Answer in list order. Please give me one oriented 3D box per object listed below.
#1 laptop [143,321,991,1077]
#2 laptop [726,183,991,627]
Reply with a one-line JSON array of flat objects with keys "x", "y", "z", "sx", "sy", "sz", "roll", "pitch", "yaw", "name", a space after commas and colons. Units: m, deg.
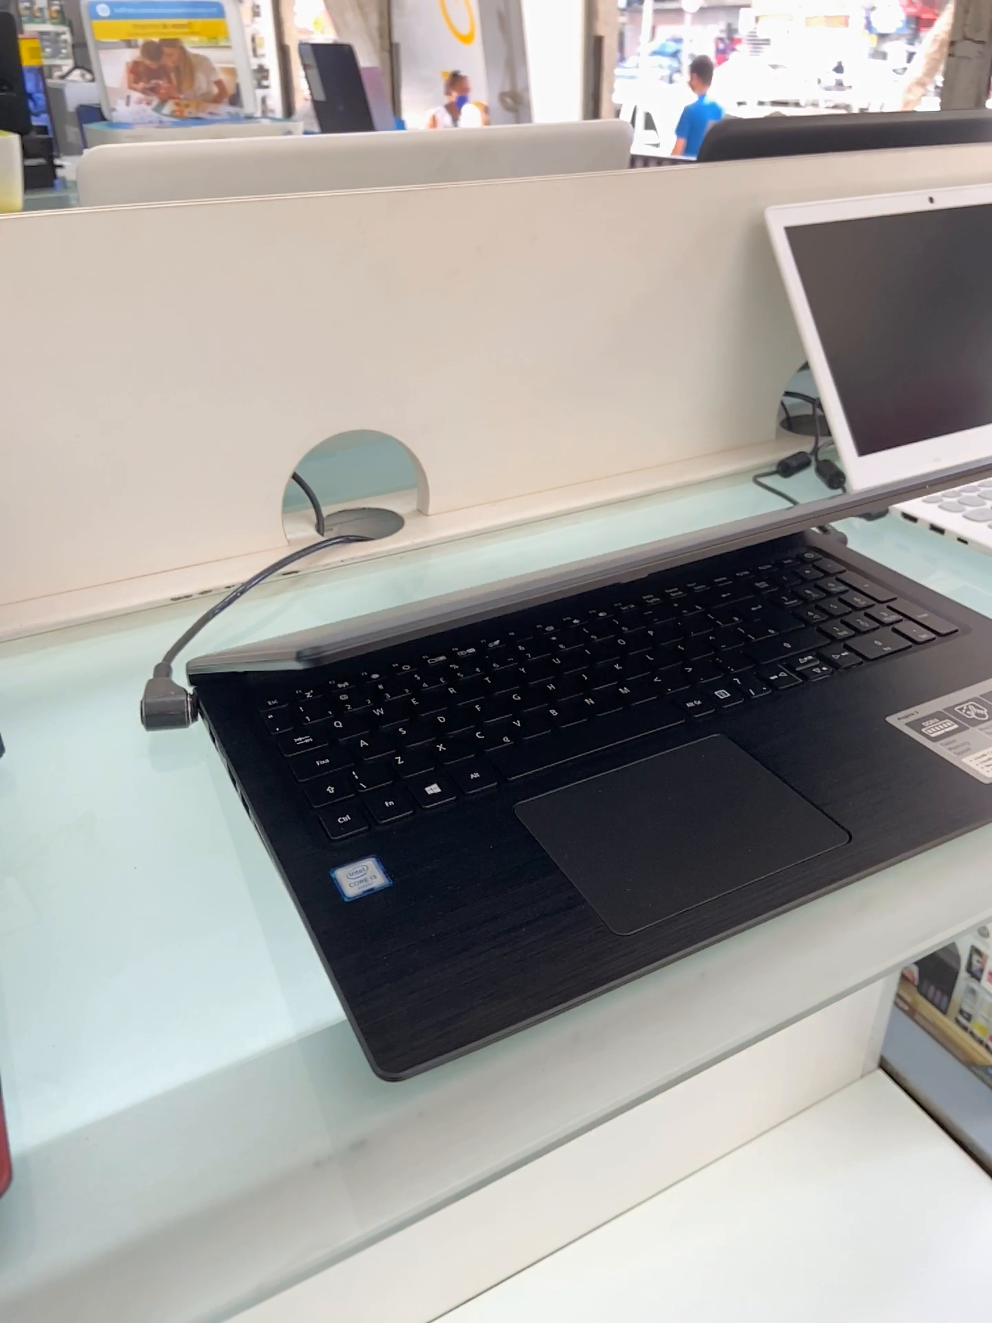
[{"x": 0.078, "y": -0.034, "z": 0.434, "sx": 0.379, "sy": 0.123, "sz": 0.240, "roll": -16, "pitch": 34, "yaw": -23, "name": "laptop"}, {"x": 0.426, "y": -0.212, "z": 0.691, "sx": 0.381, "sy": 0.165, "sz": 0.352, "roll": -16, "pitch": 34, "yaw": -26, "name": "laptop"}]
